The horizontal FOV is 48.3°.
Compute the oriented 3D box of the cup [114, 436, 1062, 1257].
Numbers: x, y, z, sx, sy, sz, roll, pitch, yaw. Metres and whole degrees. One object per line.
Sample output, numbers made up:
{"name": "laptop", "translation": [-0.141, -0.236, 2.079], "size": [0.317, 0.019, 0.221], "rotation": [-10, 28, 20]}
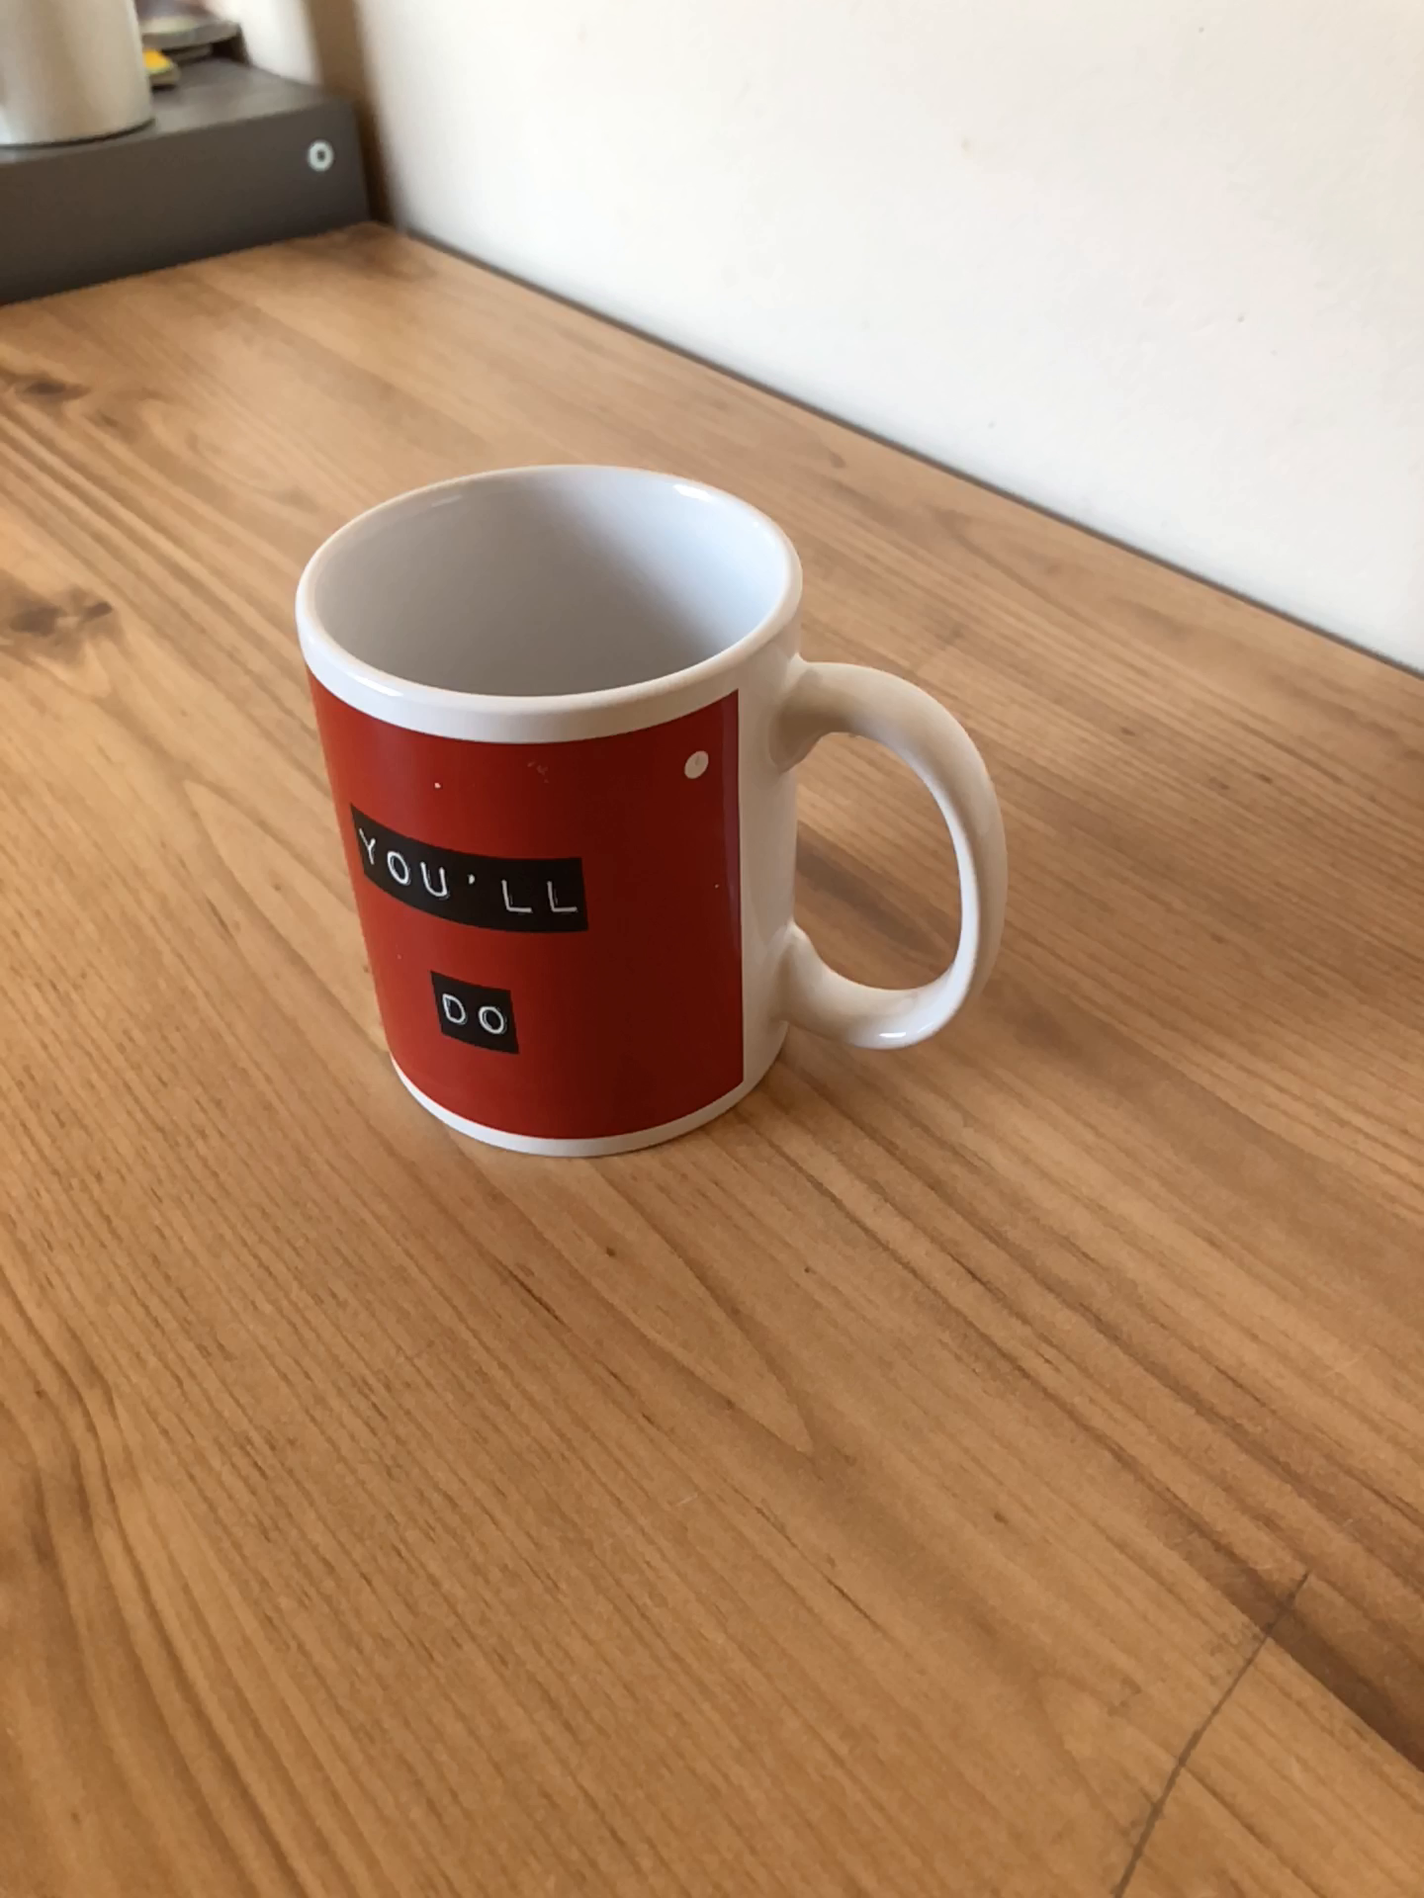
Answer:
{"name": "cup", "translation": [-0.014, -0.024, 0.276], "size": [0.123, 0.086, 0.091], "rotation": [12, 41, 16]}
